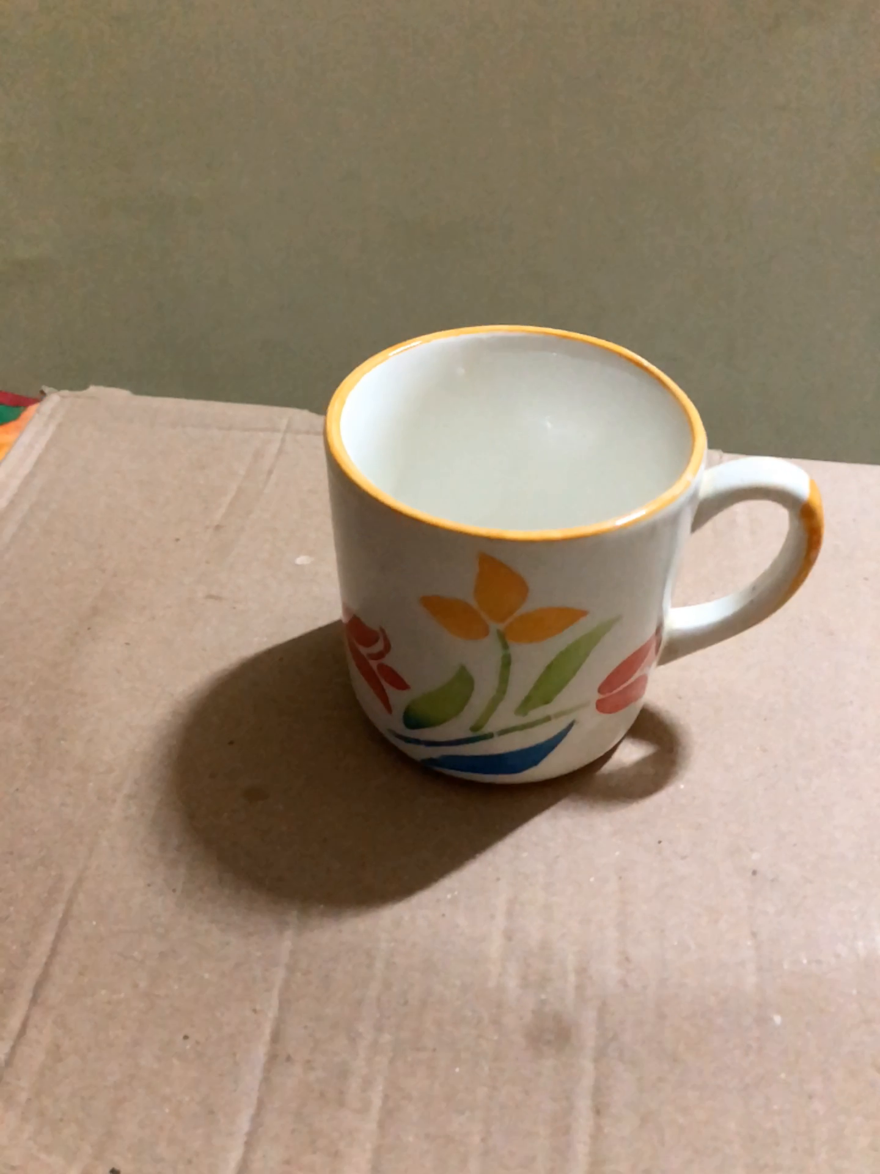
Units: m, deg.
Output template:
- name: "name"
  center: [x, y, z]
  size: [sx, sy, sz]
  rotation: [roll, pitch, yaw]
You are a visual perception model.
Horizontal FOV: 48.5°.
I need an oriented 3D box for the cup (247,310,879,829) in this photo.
- name: "cup"
  center: [0.029, -0.006, 0.226]
  size: [0.120, 0.080, 0.091]
  rotation: [0, 40, 2]
